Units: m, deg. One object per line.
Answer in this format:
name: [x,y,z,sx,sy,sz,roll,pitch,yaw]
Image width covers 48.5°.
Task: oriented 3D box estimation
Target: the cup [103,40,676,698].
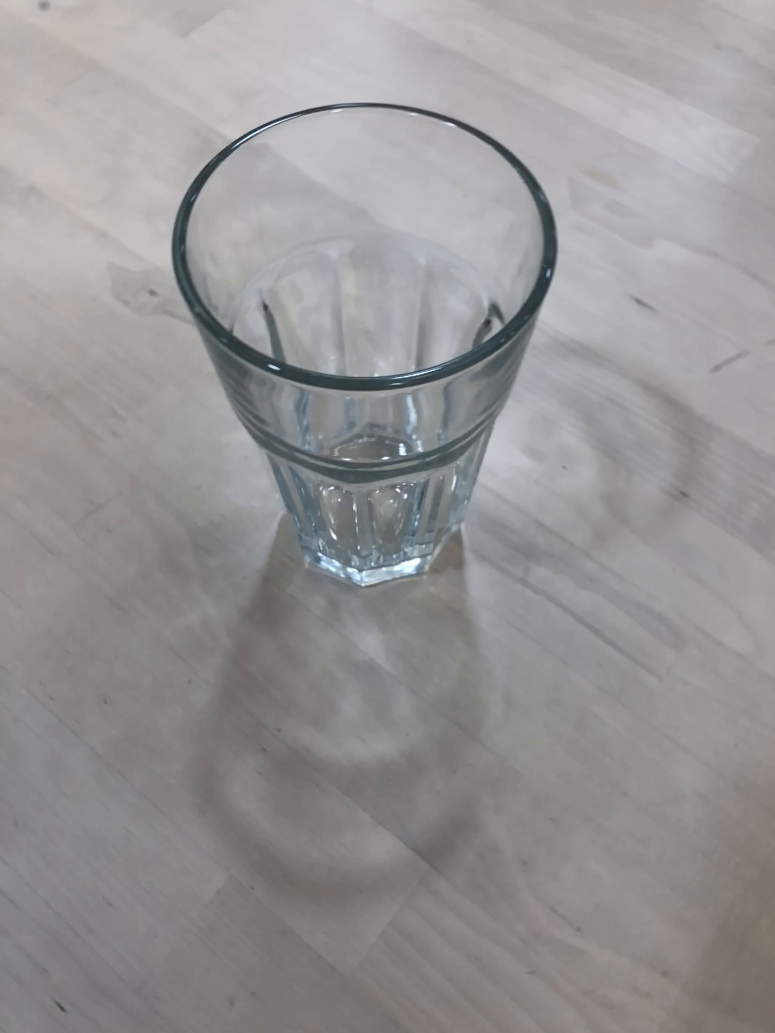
cup: [-0.001,-0.029,0.261,0.090,0.159,0.090,0,63,0]
